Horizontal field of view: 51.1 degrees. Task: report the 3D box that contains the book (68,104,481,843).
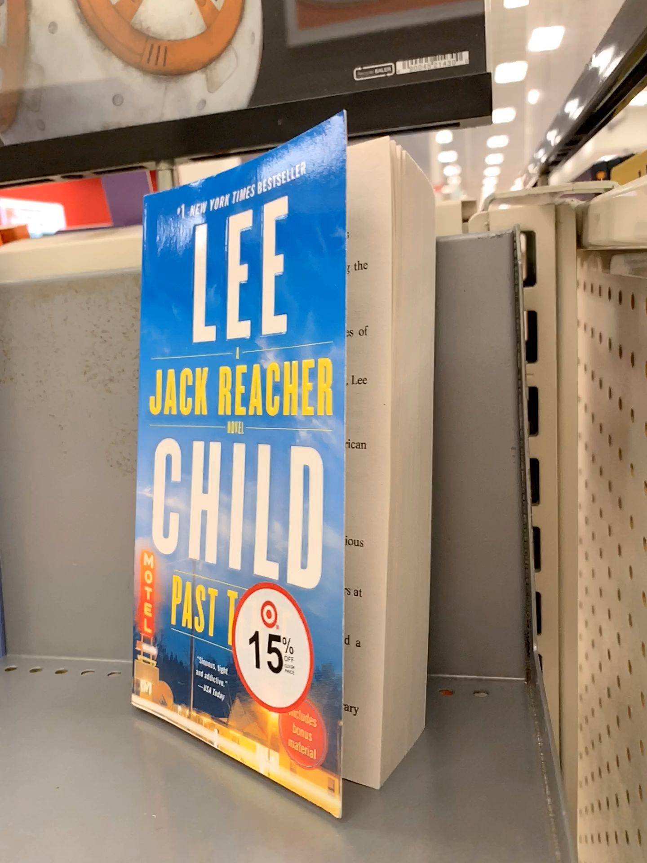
[{"bbox_3d":[-0.013,0.009,0.241,0.110,0.197,0.080,2,-3,26],"label":"book"}]
